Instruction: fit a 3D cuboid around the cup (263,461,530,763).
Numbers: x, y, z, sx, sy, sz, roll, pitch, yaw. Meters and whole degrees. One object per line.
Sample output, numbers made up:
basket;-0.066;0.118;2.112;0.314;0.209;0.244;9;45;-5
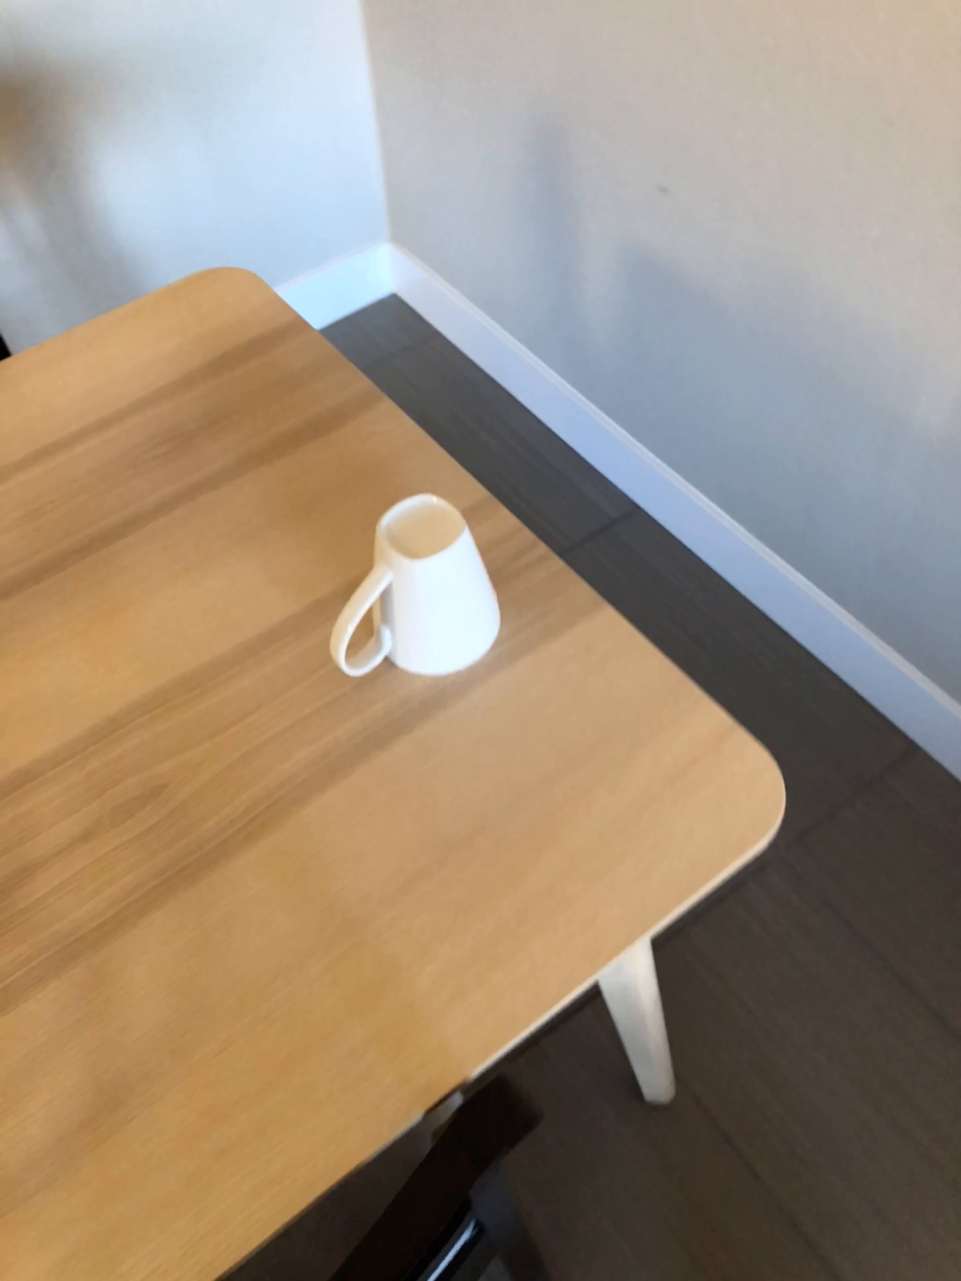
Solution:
cup;-0.052;-0.020;0.735;0.140;0.120;0.100;-39;61;-23
